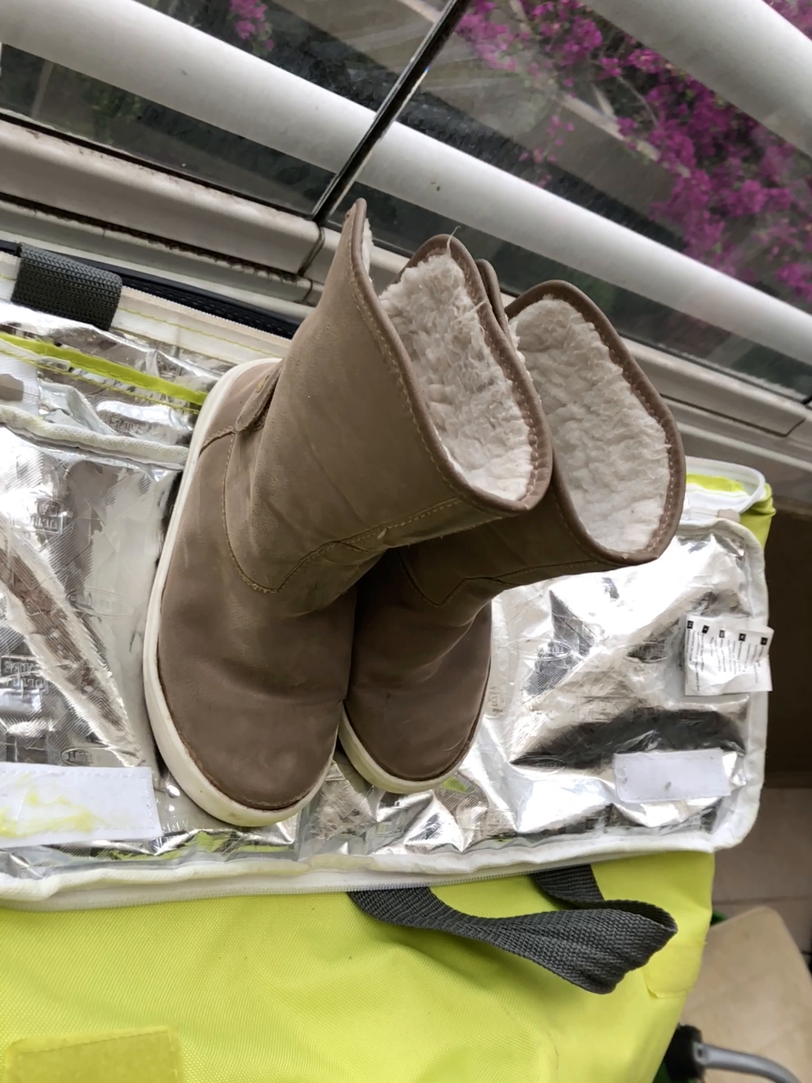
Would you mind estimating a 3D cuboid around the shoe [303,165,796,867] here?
[{"bbox_3d":[0.040,0.000,0.347,0.090,0.169,0.200,5,80,-34],"label":"shoe"}]

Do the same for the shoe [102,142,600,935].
[{"bbox_3d":[-0.029,0.007,0.307,0.090,0.169,0.190,7,79,-32],"label":"shoe"}]
